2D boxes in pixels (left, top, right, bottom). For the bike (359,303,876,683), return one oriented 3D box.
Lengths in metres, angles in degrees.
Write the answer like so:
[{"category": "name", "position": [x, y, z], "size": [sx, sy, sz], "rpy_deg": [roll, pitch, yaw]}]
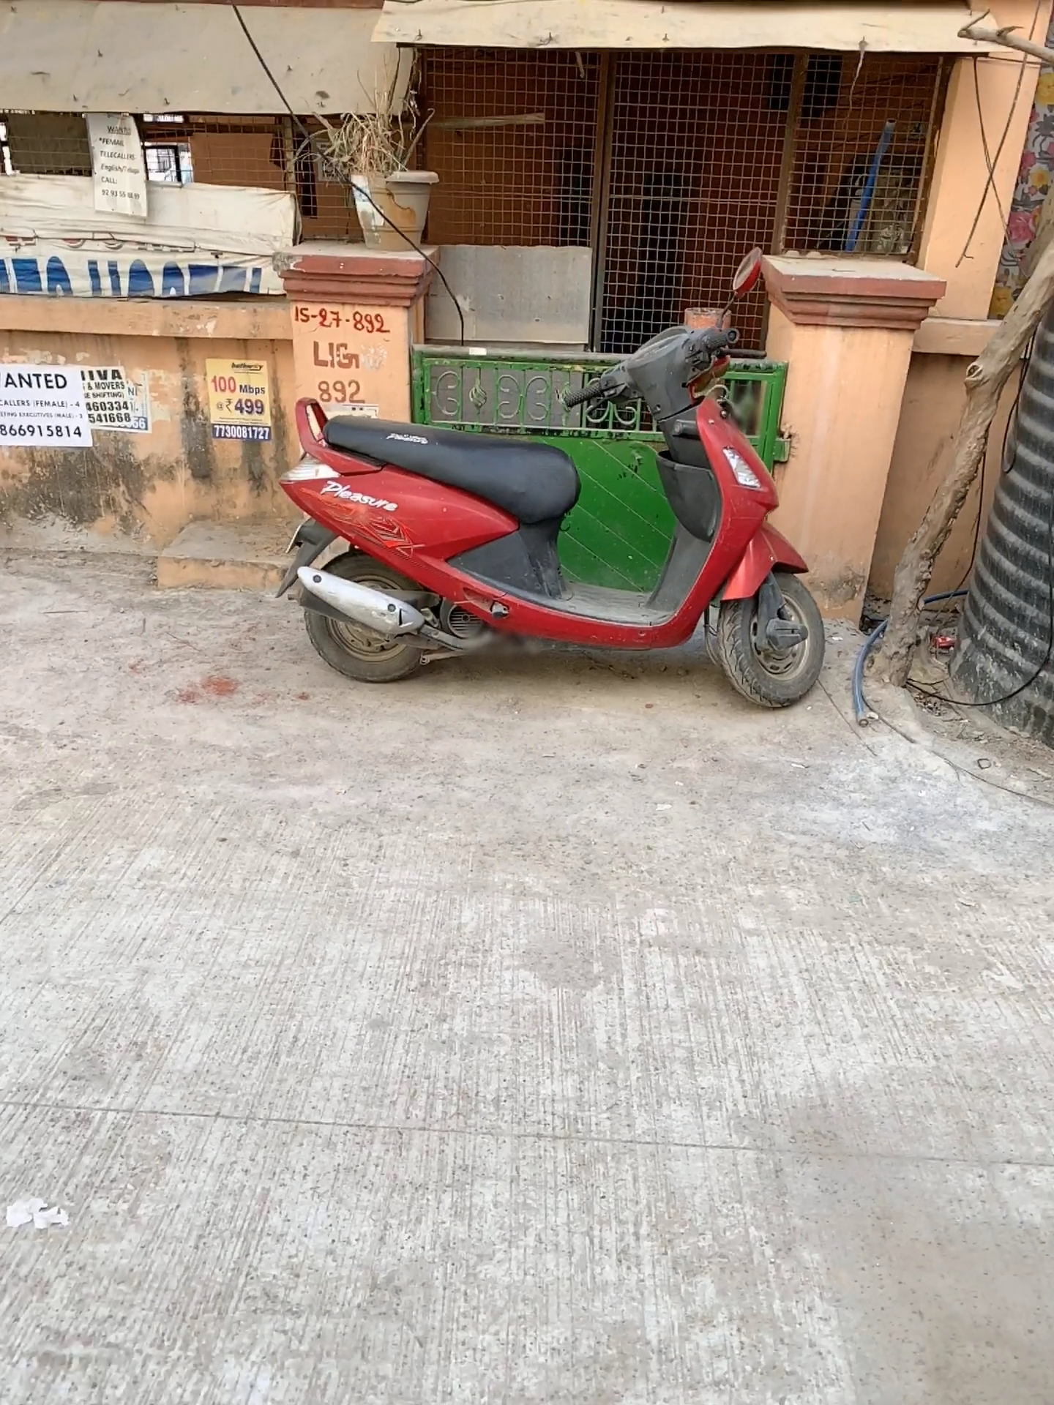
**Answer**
[{"category": "bike", "position": [0.214, -0.606, 3.097], "size": [1.271, 0.916, 0.621], "rpy_deg": [0, 27, -5]}]
